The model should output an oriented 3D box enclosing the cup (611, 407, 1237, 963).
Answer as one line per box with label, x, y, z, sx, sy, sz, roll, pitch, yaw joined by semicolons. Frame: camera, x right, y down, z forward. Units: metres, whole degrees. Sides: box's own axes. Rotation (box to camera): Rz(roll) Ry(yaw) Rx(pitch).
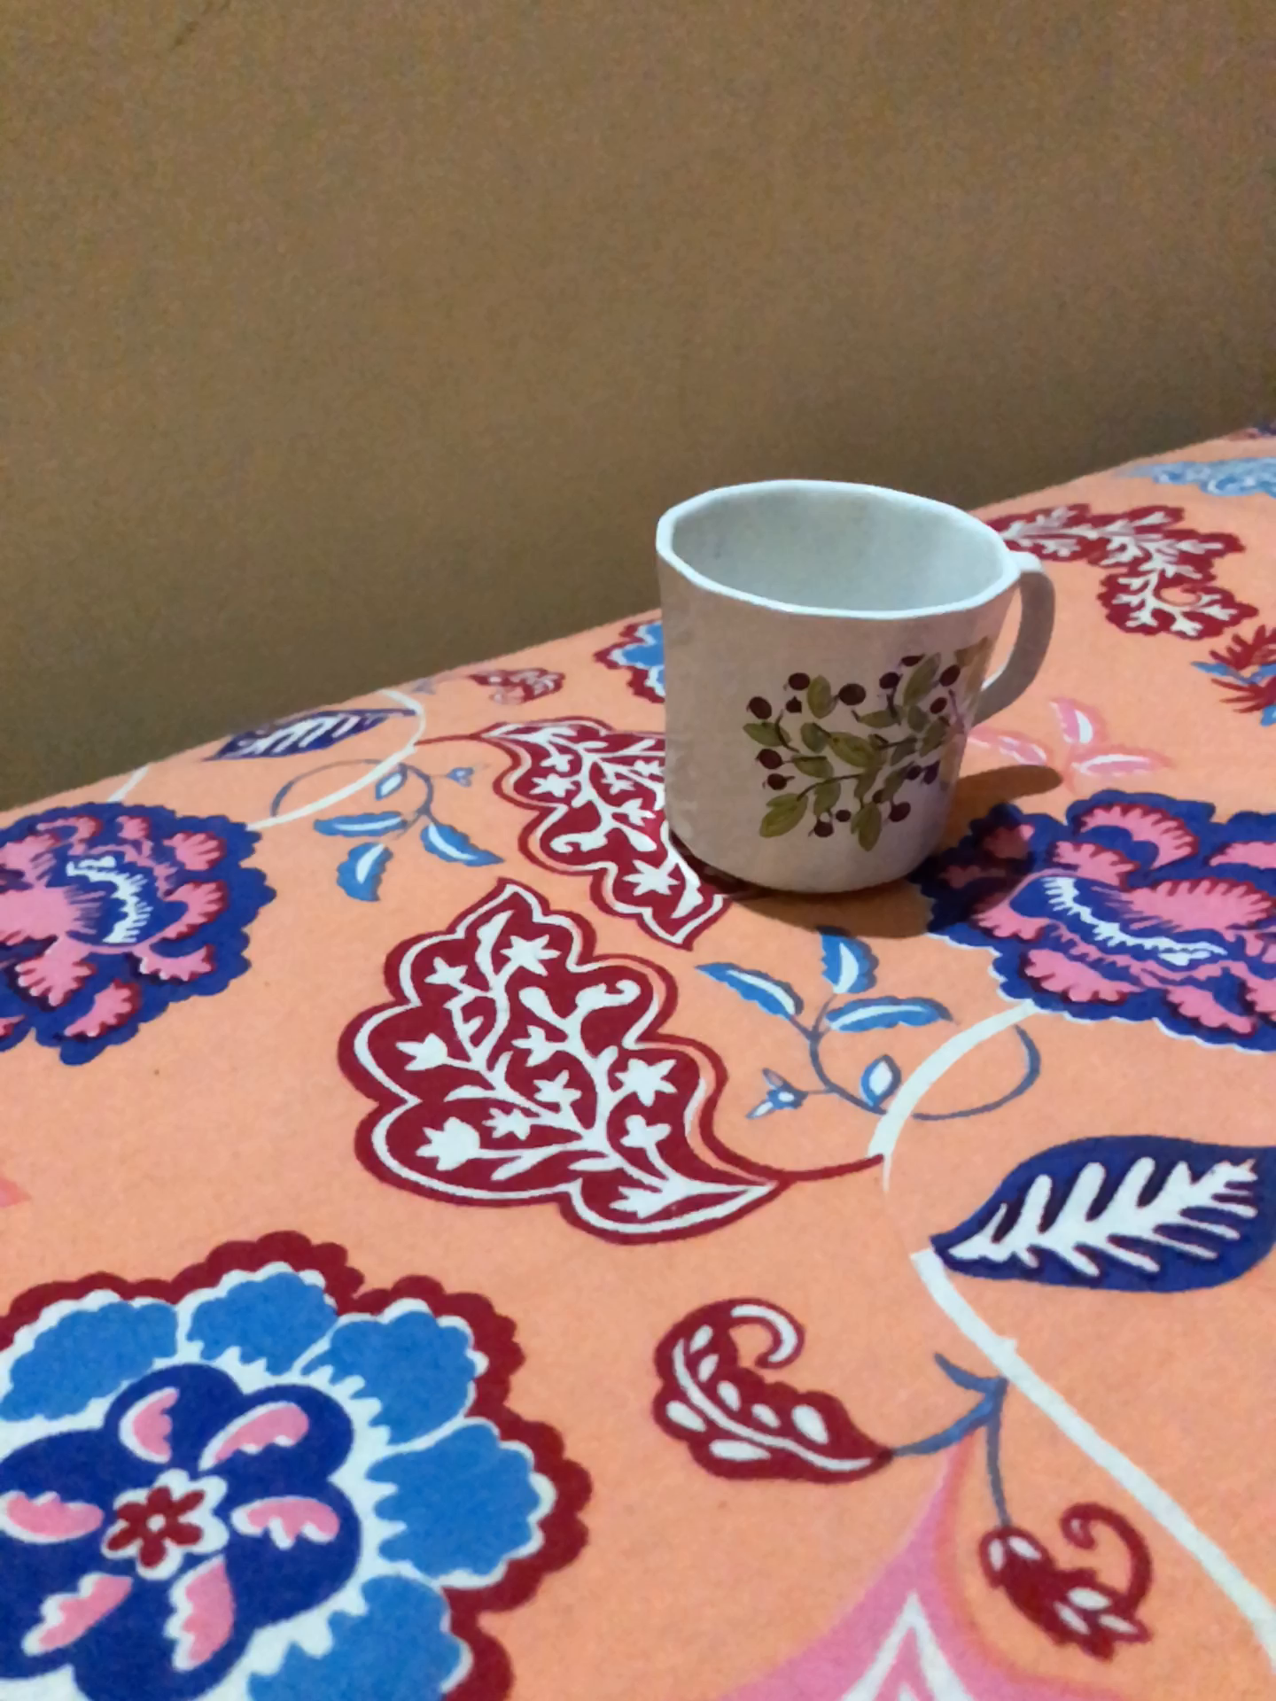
cup;0.048;-0.034;0.268;0.090;0.070;0.060;-13;37;-16
